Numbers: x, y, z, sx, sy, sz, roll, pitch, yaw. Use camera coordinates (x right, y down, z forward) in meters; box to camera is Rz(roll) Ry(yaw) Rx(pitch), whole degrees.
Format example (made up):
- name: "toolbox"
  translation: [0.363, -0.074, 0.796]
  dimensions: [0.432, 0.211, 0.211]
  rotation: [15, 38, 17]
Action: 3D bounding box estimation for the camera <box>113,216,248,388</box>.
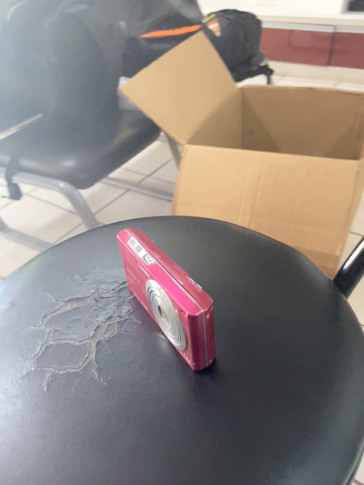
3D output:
- name: "camera"
  translation: [-0.004, 0.031, 0.233]
  dimensions: [0.030, 0.050, 0.100]
  rotation: [-24, 40, -22]
